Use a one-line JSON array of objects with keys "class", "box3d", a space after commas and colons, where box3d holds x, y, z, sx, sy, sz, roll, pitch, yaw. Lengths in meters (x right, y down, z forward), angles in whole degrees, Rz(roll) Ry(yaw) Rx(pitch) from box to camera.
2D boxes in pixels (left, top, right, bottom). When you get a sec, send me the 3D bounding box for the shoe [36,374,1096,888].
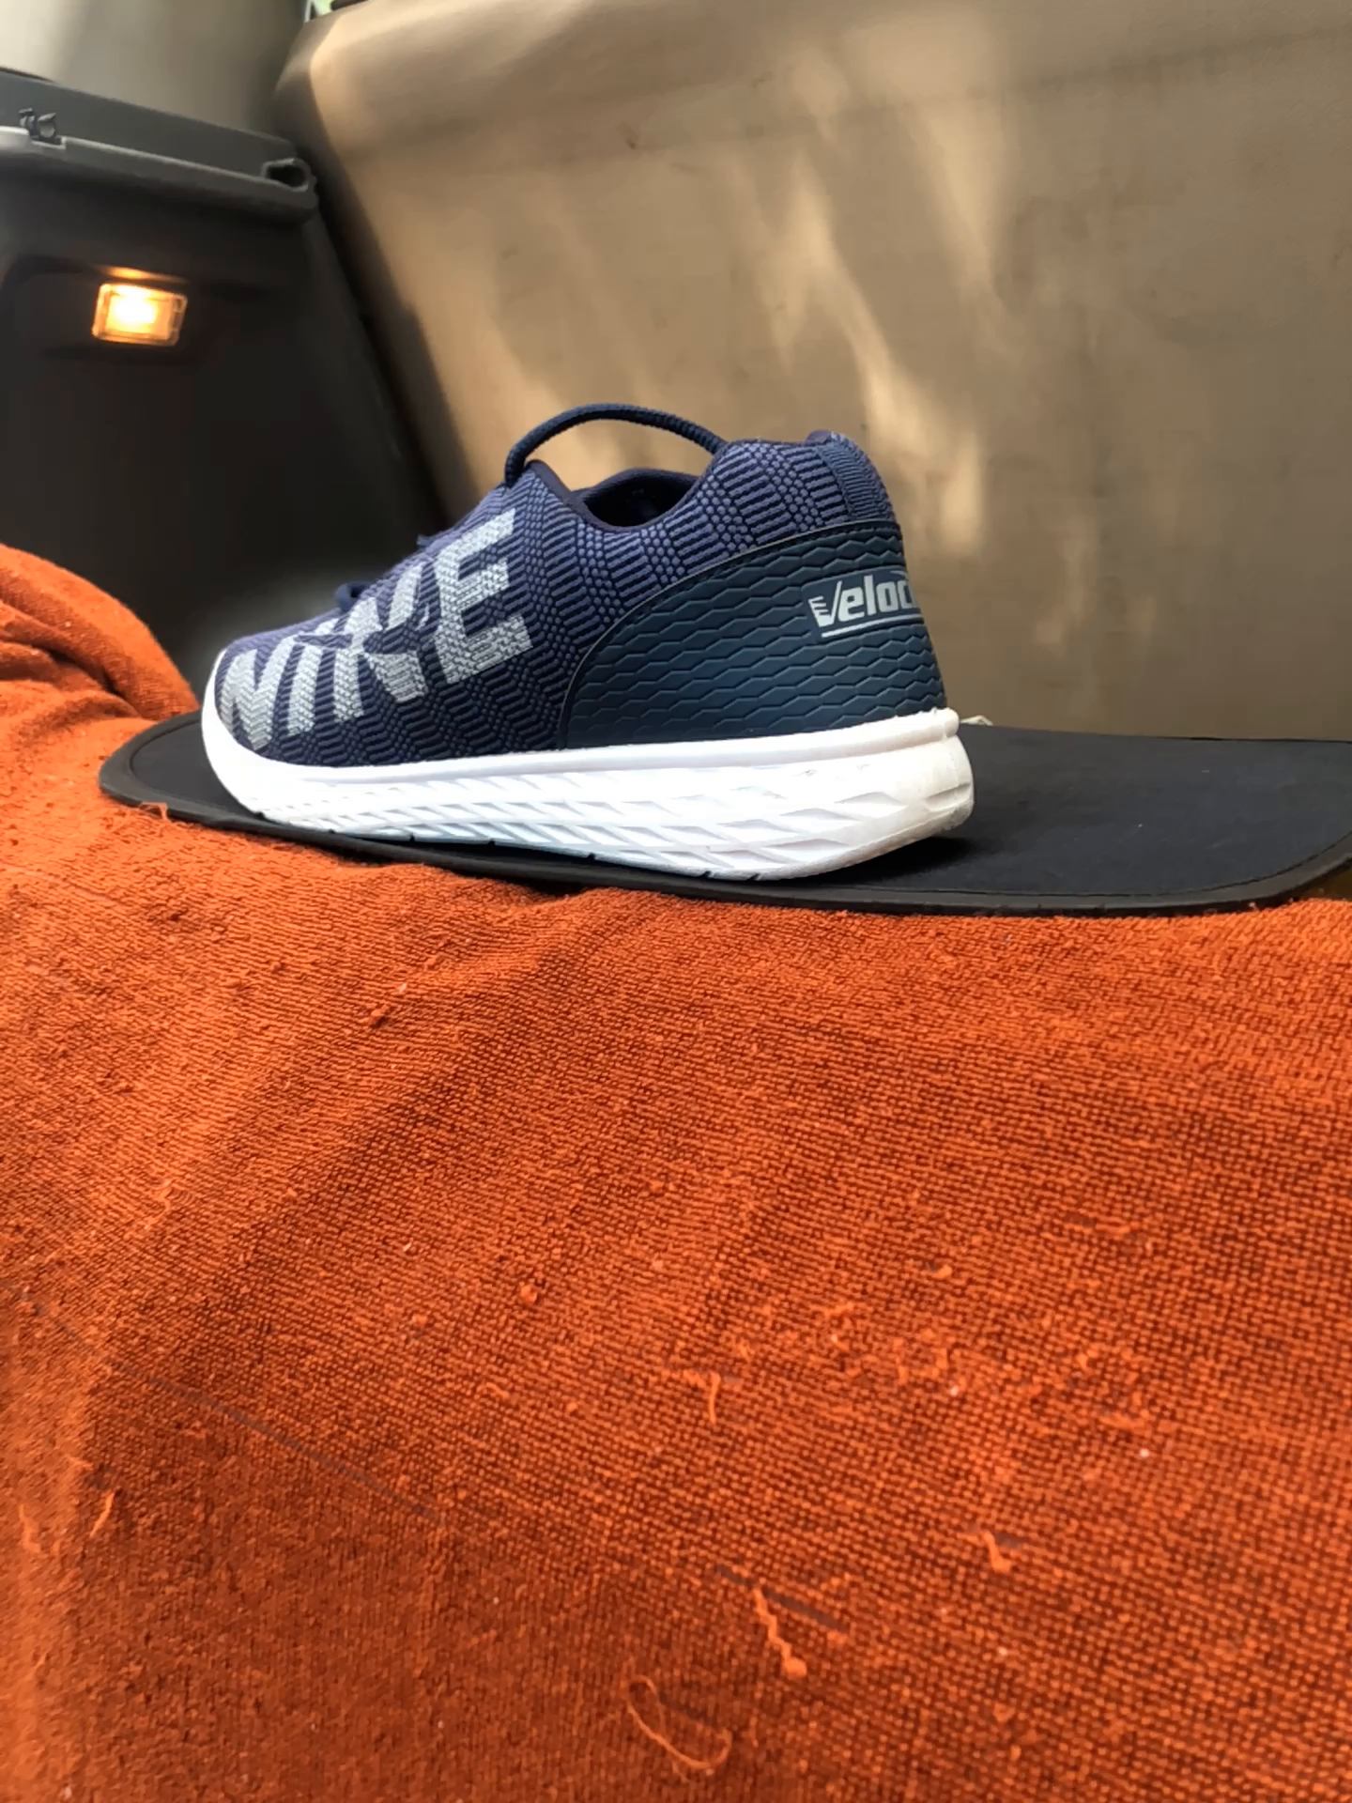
[{"class": "shoe", "box3d": [-0.043, -0.079, 0.434, 0.290, 0.100, 0.131, 7, 17, 39]}]
